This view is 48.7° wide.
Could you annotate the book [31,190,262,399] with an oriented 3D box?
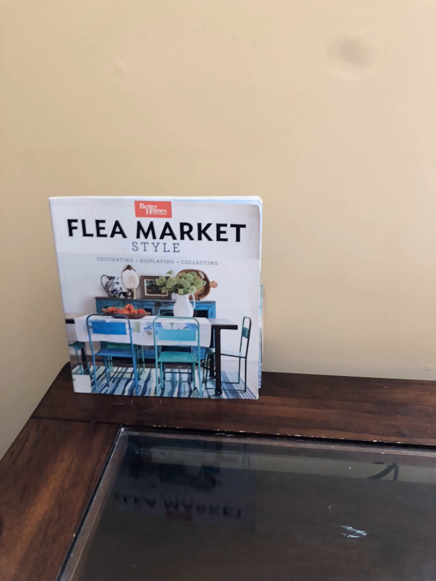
[{"bbox_3d":[-0.069,0.011,0.542,0.233,0.239,0.032,1,24,5],"label":"book"}]
